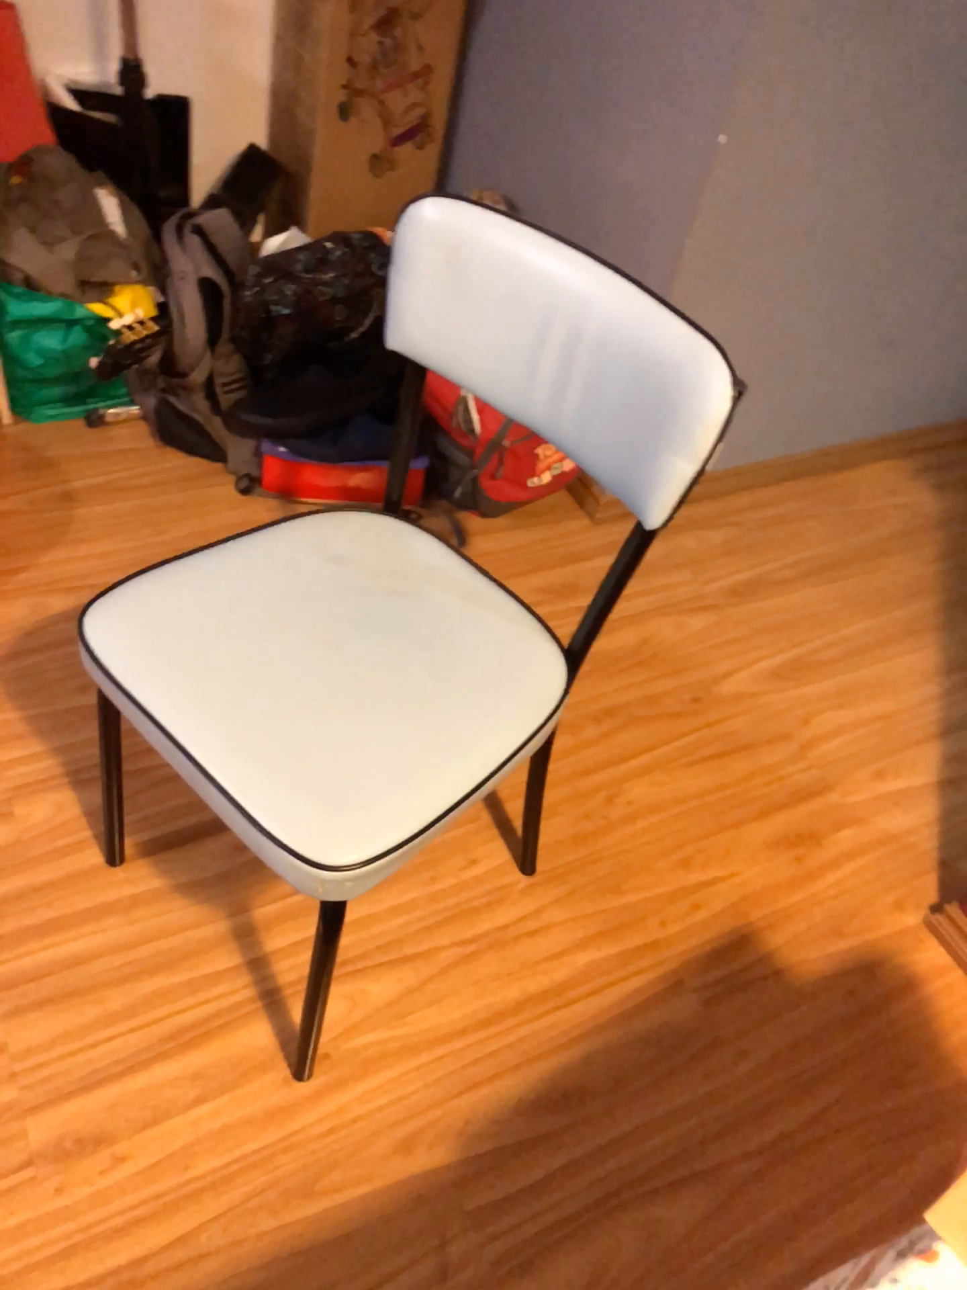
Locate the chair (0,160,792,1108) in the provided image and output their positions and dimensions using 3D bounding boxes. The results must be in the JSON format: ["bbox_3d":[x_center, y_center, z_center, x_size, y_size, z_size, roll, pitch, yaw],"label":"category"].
[{"bbox_3d":[-0.127,0.009,1.150,0.451,0.794,0.502,39,51,23],"label":"chair"}]
